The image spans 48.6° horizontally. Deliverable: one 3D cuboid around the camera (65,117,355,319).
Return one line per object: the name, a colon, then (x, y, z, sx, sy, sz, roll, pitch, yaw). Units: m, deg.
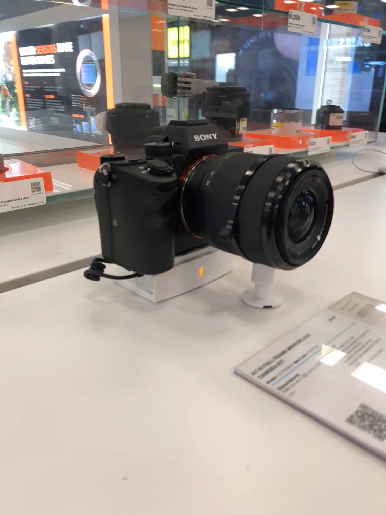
camera: (0.009, -0.048, 0.321, 0.130, 0.100, 0.160, -19, 28, -41)
